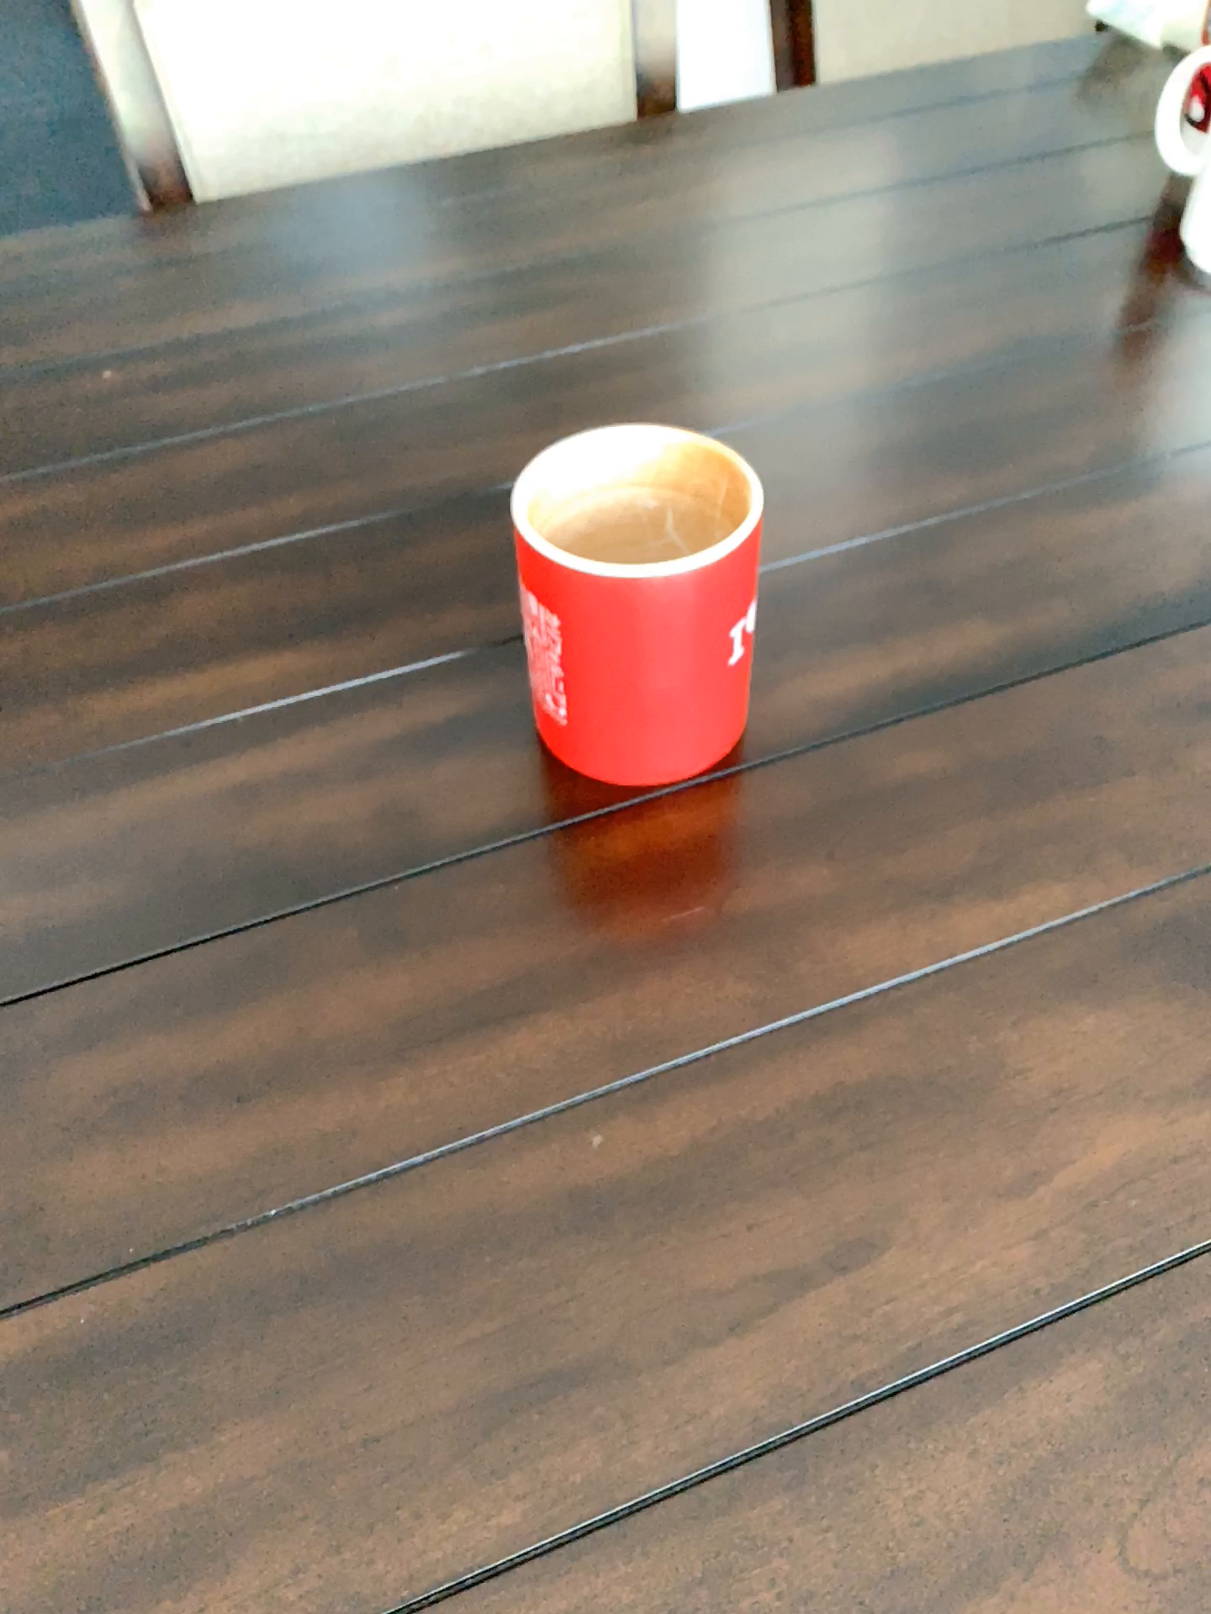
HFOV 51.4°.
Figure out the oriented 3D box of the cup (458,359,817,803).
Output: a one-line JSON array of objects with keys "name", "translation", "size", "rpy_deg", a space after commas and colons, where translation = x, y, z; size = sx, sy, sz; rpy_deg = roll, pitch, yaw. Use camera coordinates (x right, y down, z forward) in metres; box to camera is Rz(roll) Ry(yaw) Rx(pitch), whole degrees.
[{"name": "cup", "translation": [0.006, -0.086, 0.458], "size": [0.100, 0.080, 0.141], "rpy_deg": [-8, 48, -4]}]
